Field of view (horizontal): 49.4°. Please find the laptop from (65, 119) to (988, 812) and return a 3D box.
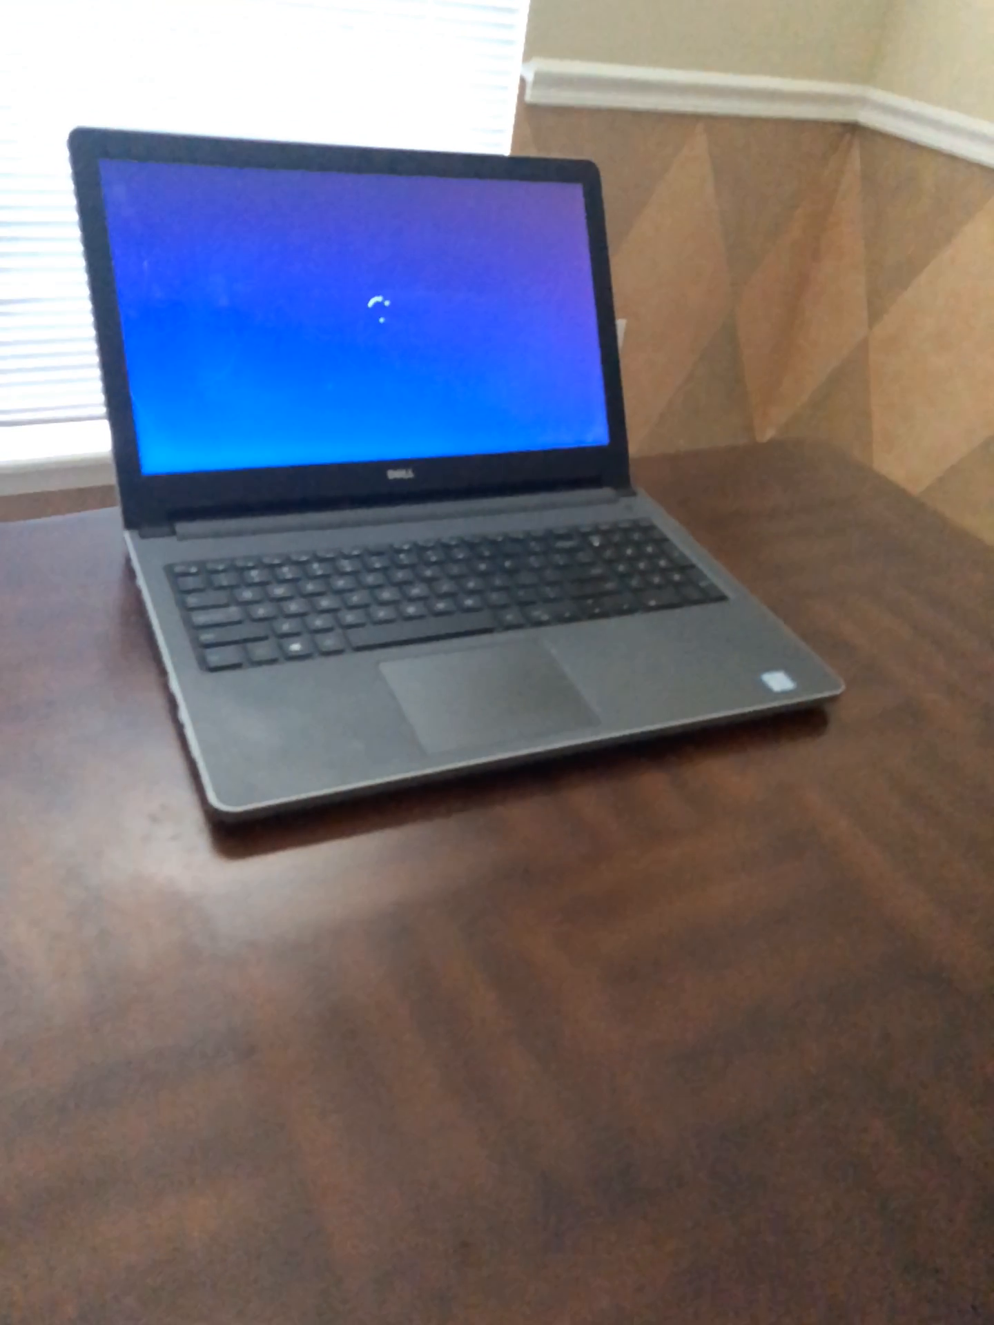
[{"bbox_3d":[-0.024,-0.153,0.640,0.367,0.198,0.394,-9,40,-25],"label":"laptop"}]
